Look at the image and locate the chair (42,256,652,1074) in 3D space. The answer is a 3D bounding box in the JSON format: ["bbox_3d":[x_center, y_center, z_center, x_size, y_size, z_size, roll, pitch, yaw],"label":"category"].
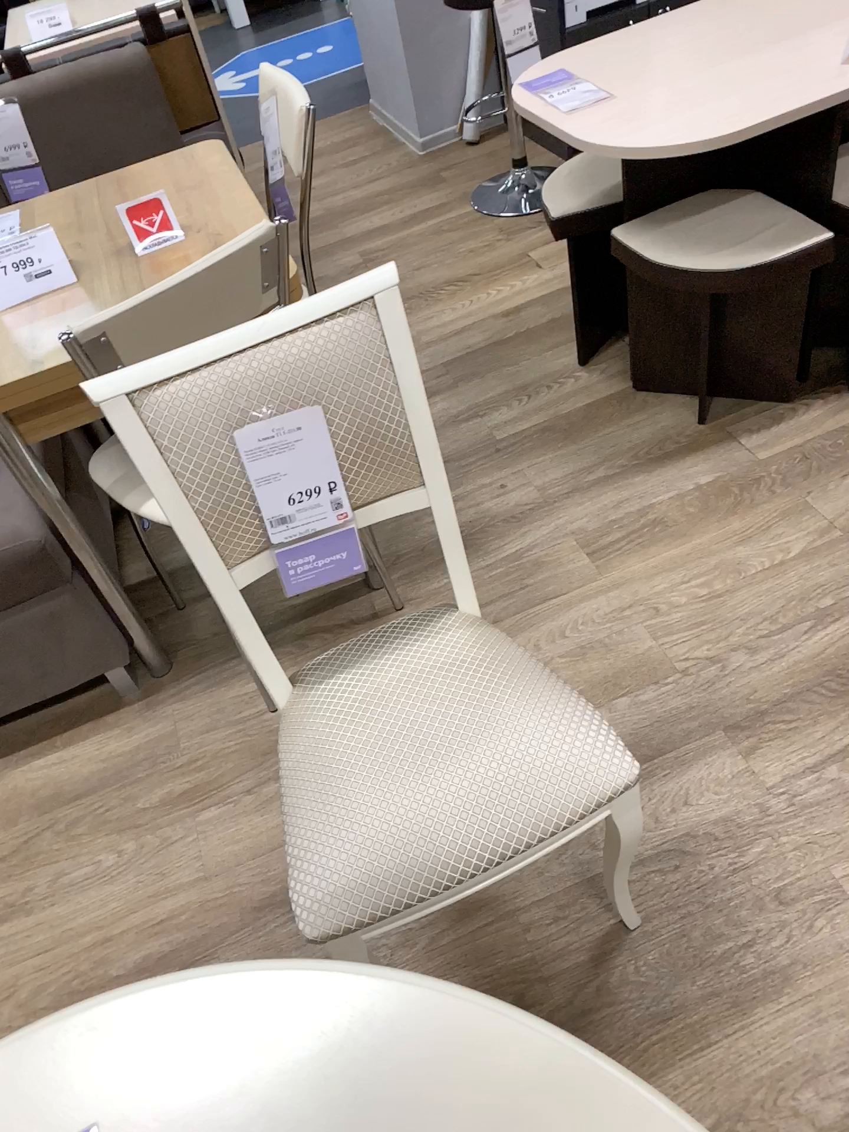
[{"bbox_3d":[-0.043,0.185,1.175,0.460,0.925,0.512,-24,45,-9],"label":"chair"}]
